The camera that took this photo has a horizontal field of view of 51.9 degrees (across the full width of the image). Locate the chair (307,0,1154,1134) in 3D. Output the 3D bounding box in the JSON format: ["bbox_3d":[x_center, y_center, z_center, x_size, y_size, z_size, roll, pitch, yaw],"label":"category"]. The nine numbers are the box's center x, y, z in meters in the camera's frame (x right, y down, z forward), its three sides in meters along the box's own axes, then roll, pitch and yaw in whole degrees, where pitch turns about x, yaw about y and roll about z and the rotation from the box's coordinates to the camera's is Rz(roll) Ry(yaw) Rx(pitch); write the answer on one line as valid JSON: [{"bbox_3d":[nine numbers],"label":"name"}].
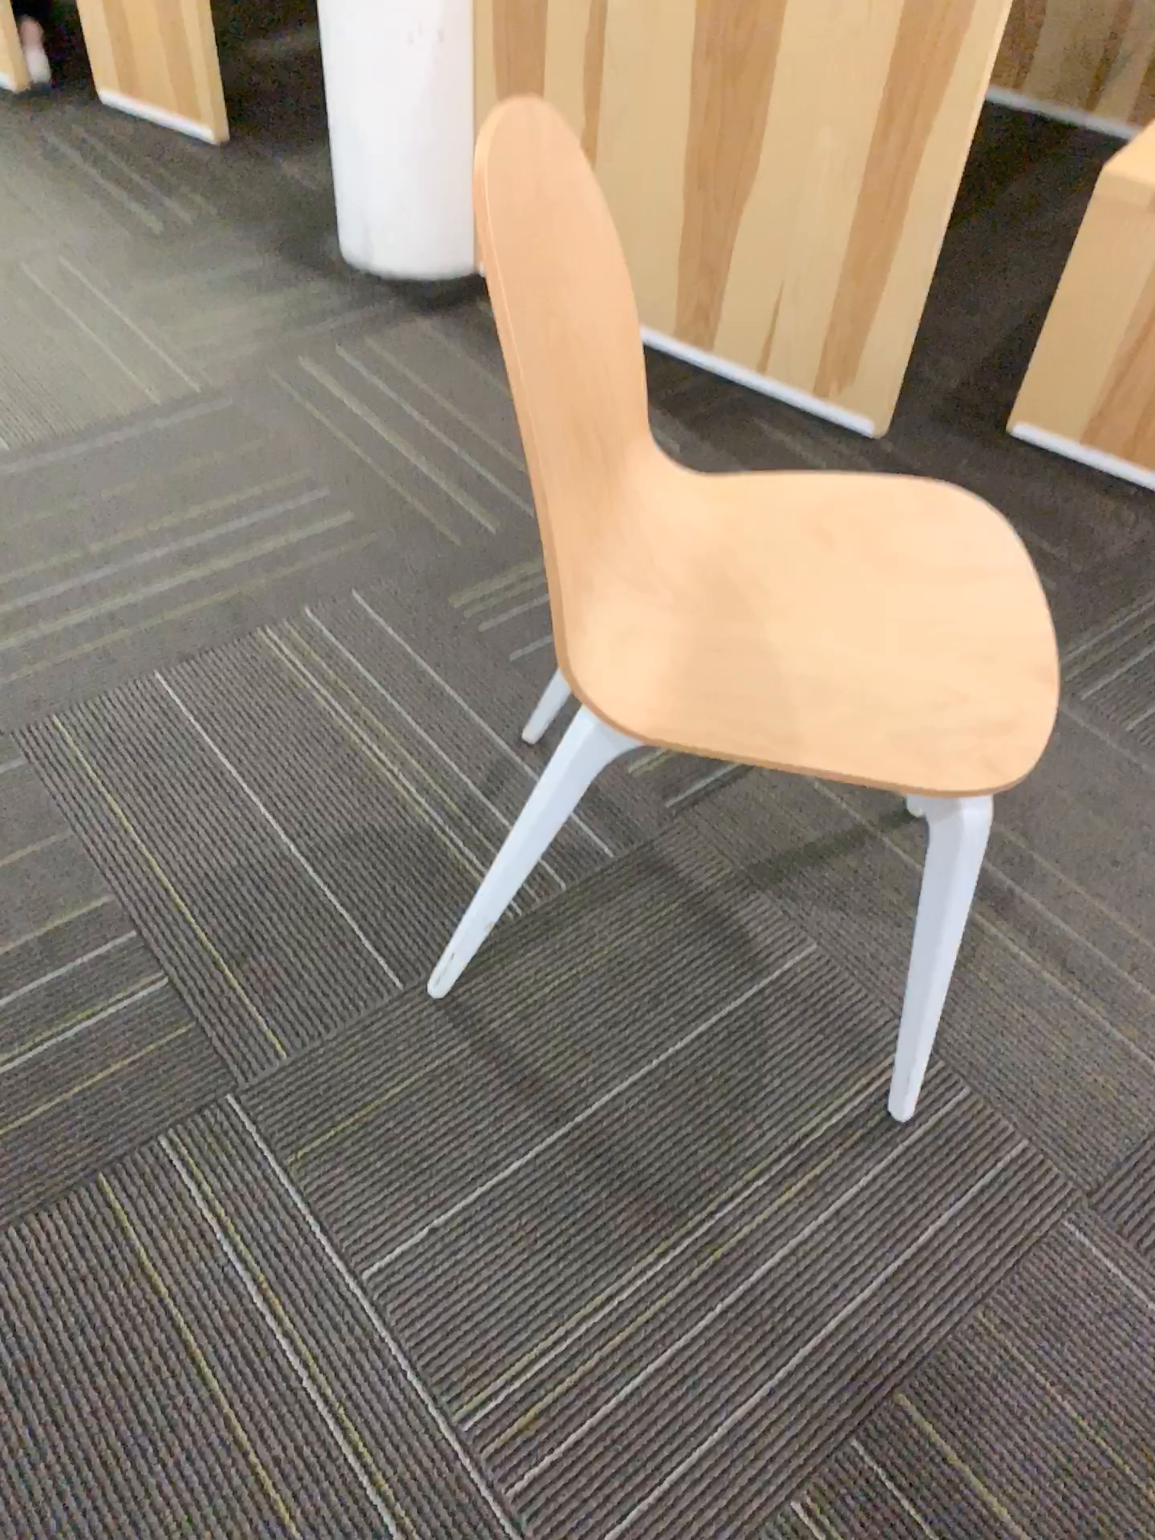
[{"bbox_3d":[0.158,-0.137,1.072,0.570,0.825,0.462,13,48,7],"label":"chair"}]
